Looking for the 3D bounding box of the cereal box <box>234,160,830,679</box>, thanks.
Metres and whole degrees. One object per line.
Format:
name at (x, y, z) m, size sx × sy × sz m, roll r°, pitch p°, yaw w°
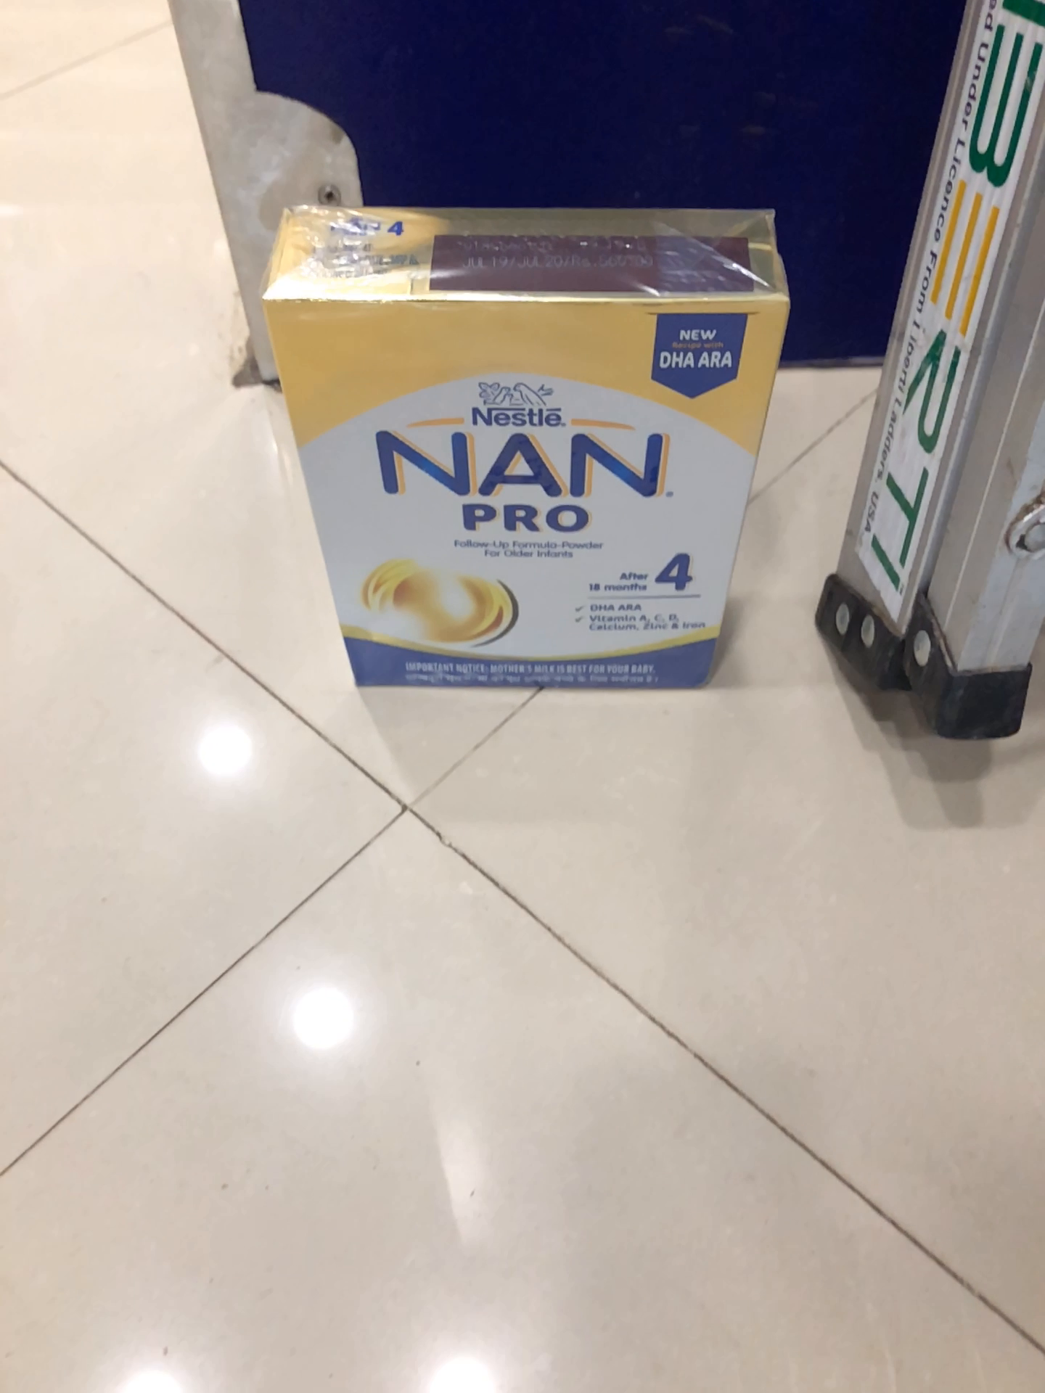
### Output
cereal box at (0.004, -0.087, 0.431) m, size 0.170 × 0.209 × 0.050 m, roll 0°, pitch 56°, yaw 0°
